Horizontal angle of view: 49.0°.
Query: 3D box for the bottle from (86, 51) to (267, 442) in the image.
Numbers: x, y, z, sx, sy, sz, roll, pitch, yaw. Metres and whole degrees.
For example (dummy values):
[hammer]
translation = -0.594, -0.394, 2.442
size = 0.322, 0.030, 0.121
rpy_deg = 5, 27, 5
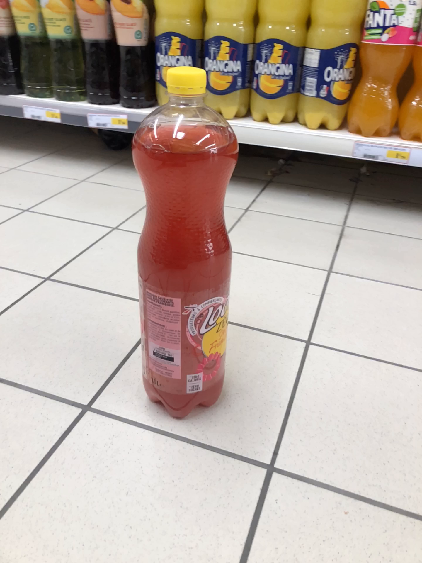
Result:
[bottle]
translation = -0.029, -0.022, 0.422
size = 0.090, 0.328, 0.101
rpy_deg = 21, 35, 29
